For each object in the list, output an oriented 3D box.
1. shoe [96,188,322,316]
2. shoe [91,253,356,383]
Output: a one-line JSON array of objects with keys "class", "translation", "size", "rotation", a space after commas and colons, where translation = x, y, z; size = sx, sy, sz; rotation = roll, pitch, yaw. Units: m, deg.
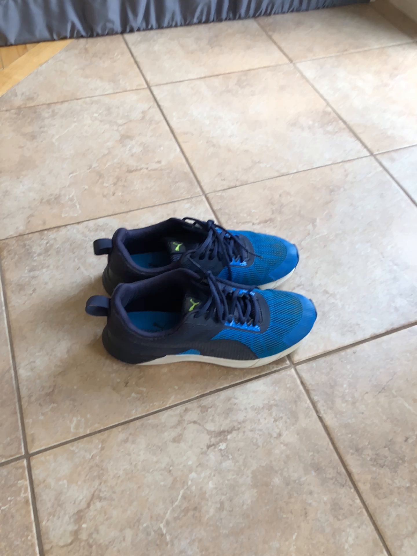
[{"class": "shoe", "translation": [-0.004, -0.037, 0.637], "size": [0.280, 0.100, 0.110], "rotation": [-6, 54, -8]}, {"class": "shoe", "translation": [0.013, 0.049, 0.571], "size": [0.290, 0.100, 0.110], "rotation": [-3, 54, -5]}]
